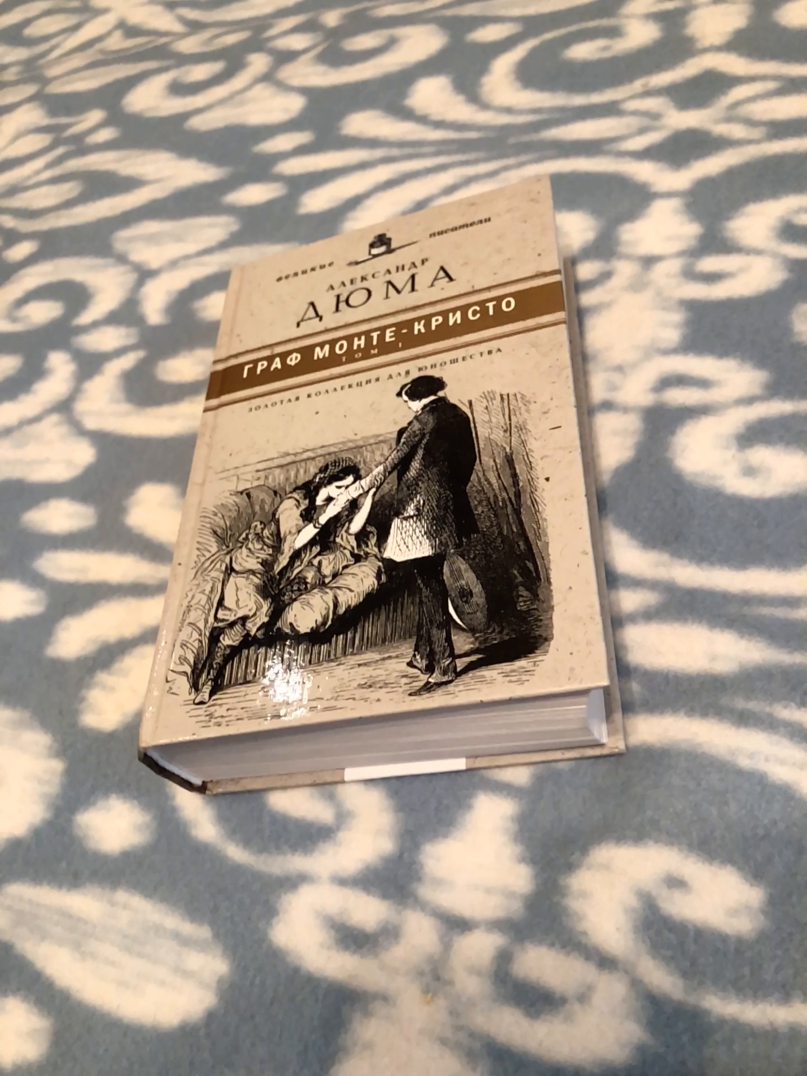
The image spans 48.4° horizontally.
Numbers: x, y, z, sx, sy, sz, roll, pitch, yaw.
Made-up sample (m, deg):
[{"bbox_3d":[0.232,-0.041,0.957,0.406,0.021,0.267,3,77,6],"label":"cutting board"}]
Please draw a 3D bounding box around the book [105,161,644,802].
[{"bbox_3d":[-0.007,-0.029,0.301,0.138,0.040,0.212,-11,52,16],"label":"book"}]
